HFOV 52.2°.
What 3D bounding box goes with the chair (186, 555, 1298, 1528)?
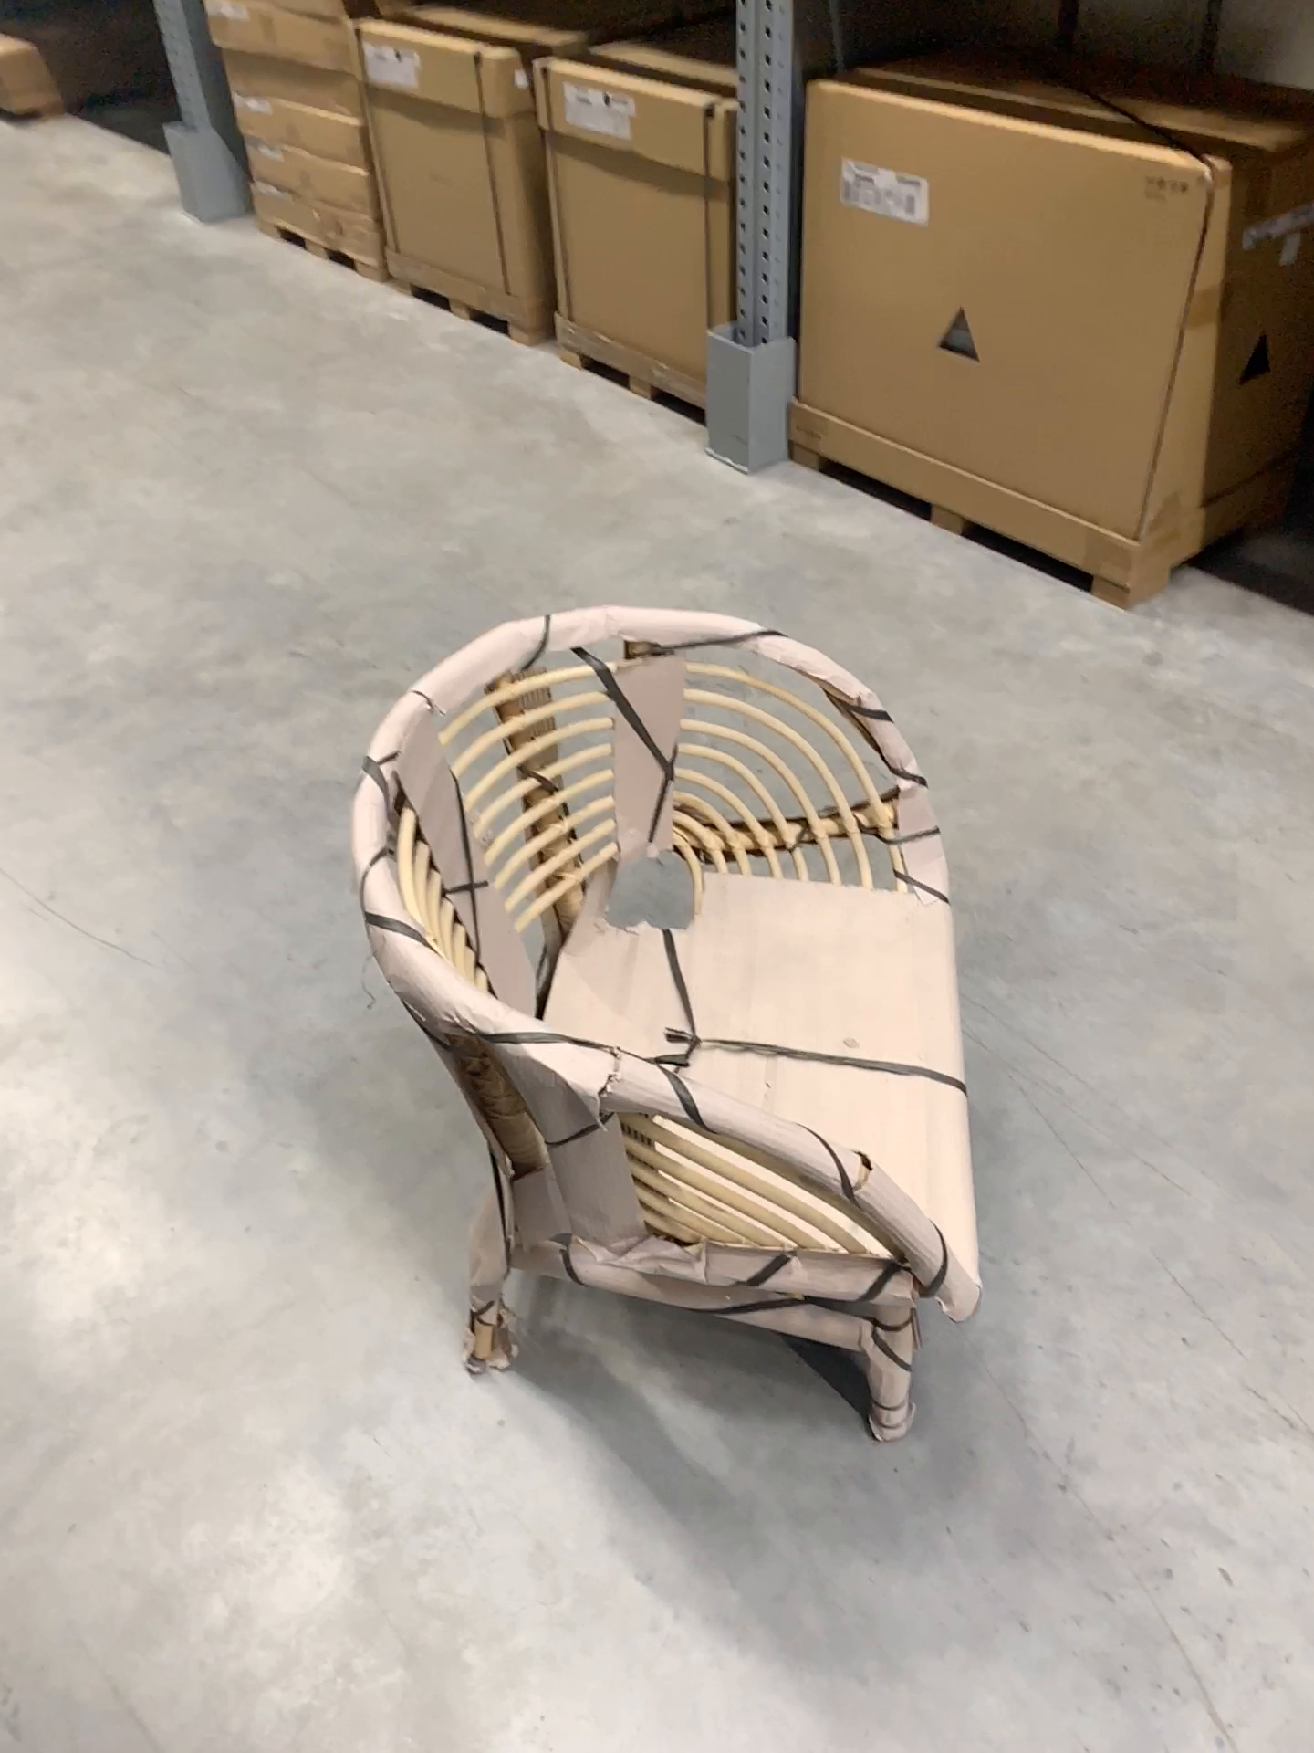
[{"bbox_3d":[0.099,0.120,1.380,0.760,0.568,0.753,3,42,7],"label":"chair"}]
